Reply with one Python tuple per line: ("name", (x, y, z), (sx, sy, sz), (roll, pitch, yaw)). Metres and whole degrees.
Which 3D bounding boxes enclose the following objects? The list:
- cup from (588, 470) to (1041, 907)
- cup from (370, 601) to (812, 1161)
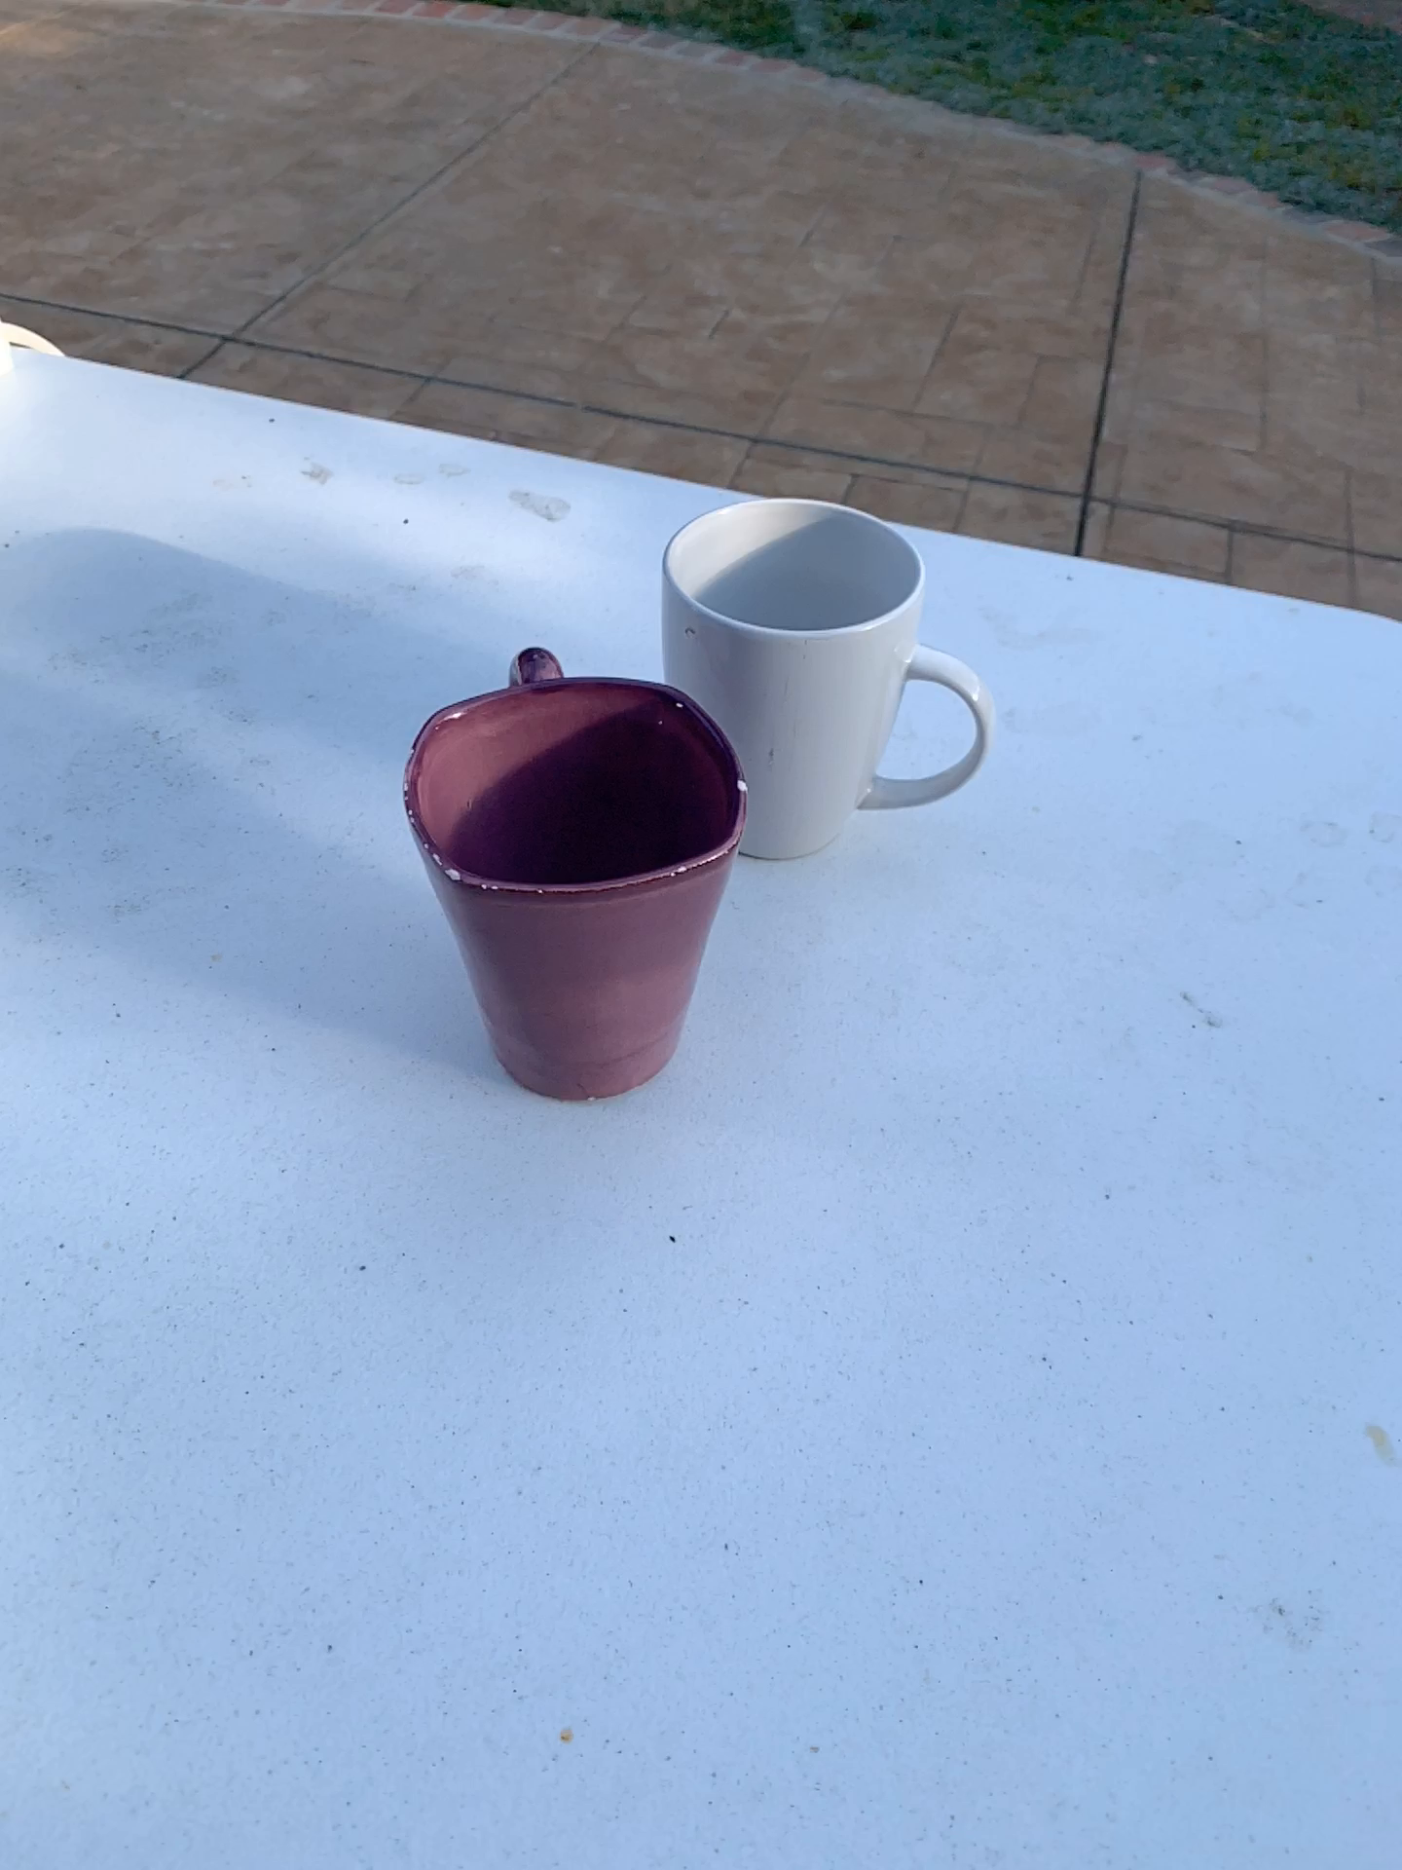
("cup", (0.038, -0.089, 0.501), (0.120, 0.080, 0.100), (20, 47, 16))
("cup", (-0.037, -0.020, 0.427), (0.100, 0.089, 0.131), (-8, 46, -11))
